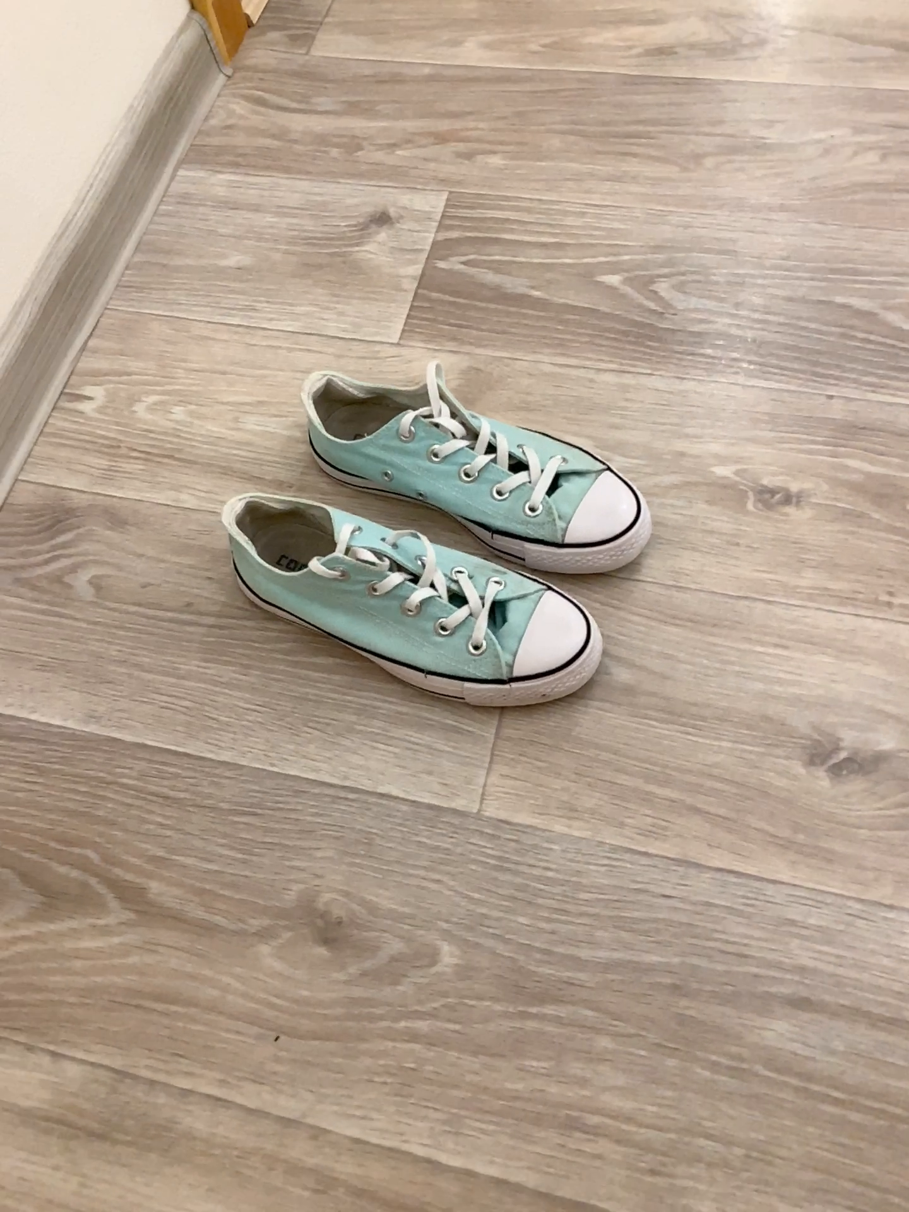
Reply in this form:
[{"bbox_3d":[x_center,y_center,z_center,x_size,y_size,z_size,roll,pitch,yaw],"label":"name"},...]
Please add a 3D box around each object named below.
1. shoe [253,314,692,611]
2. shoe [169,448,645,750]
[{"bbox_3d":[0.010,-0.096,0.594,0.250,0.060,0.100,22,66,17],"label":"shoe"},{"bbox_3d":[-0.027,-0.008,0.542,0.250,0.060,0.092,17,65,14],"label":"shoe"}]
